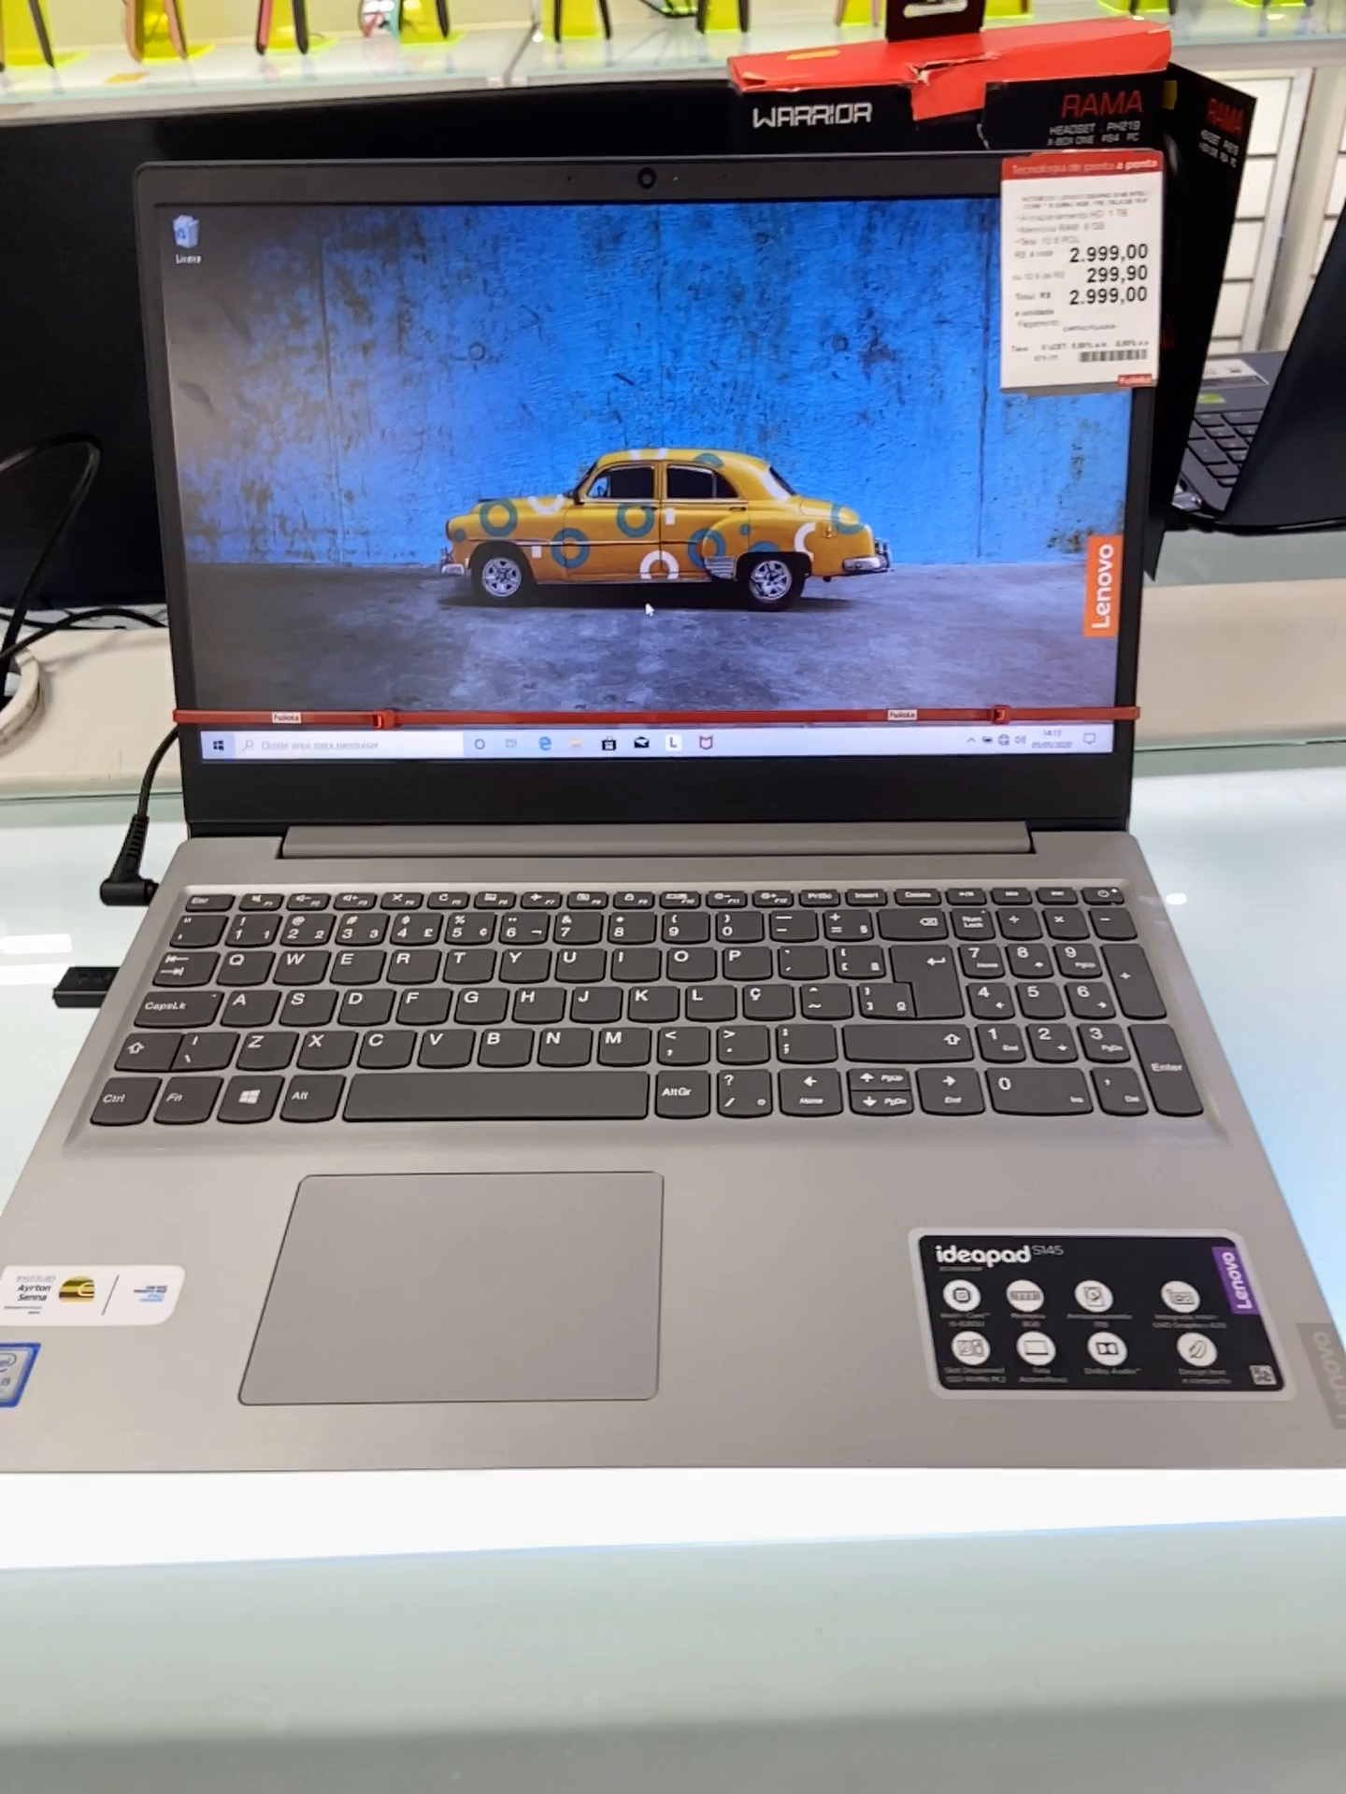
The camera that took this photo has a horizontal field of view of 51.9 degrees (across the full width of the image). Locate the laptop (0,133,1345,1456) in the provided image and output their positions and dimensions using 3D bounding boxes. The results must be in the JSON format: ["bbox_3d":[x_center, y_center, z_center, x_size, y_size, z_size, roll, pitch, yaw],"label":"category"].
[{"bbox_3d":[-0.015,-0.067,0.421,0.368,0.209,0.381,-1,40,2],"label":"laptop"}]
